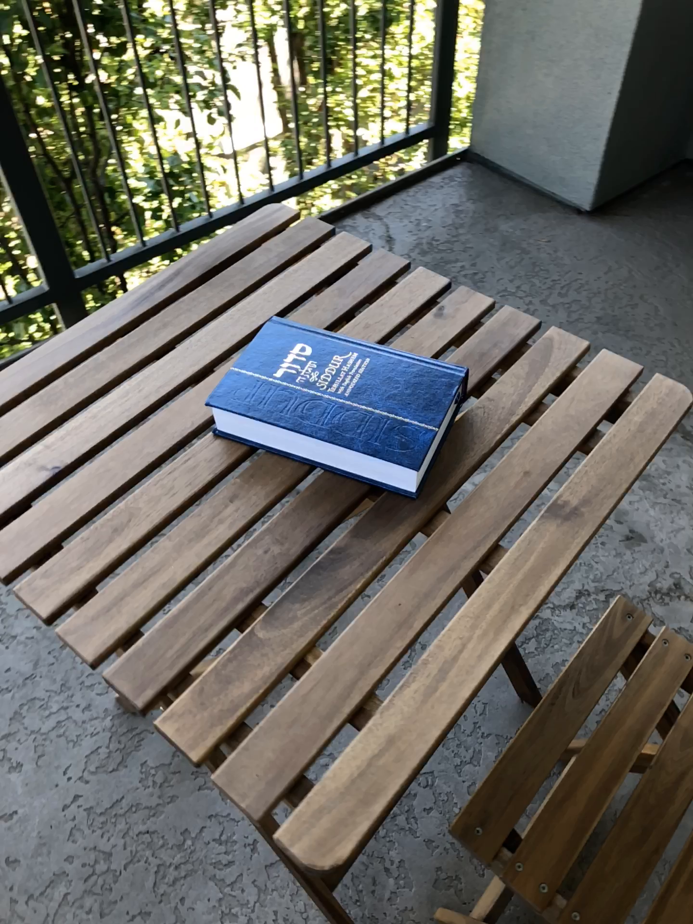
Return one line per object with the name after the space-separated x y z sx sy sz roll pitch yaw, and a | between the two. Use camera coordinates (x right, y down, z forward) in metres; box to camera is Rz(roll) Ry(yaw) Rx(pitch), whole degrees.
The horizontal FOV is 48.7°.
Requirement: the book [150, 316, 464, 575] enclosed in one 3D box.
-0.031 -0.026 0.741 0.230 0.070 0.201 17 52 16 | book
